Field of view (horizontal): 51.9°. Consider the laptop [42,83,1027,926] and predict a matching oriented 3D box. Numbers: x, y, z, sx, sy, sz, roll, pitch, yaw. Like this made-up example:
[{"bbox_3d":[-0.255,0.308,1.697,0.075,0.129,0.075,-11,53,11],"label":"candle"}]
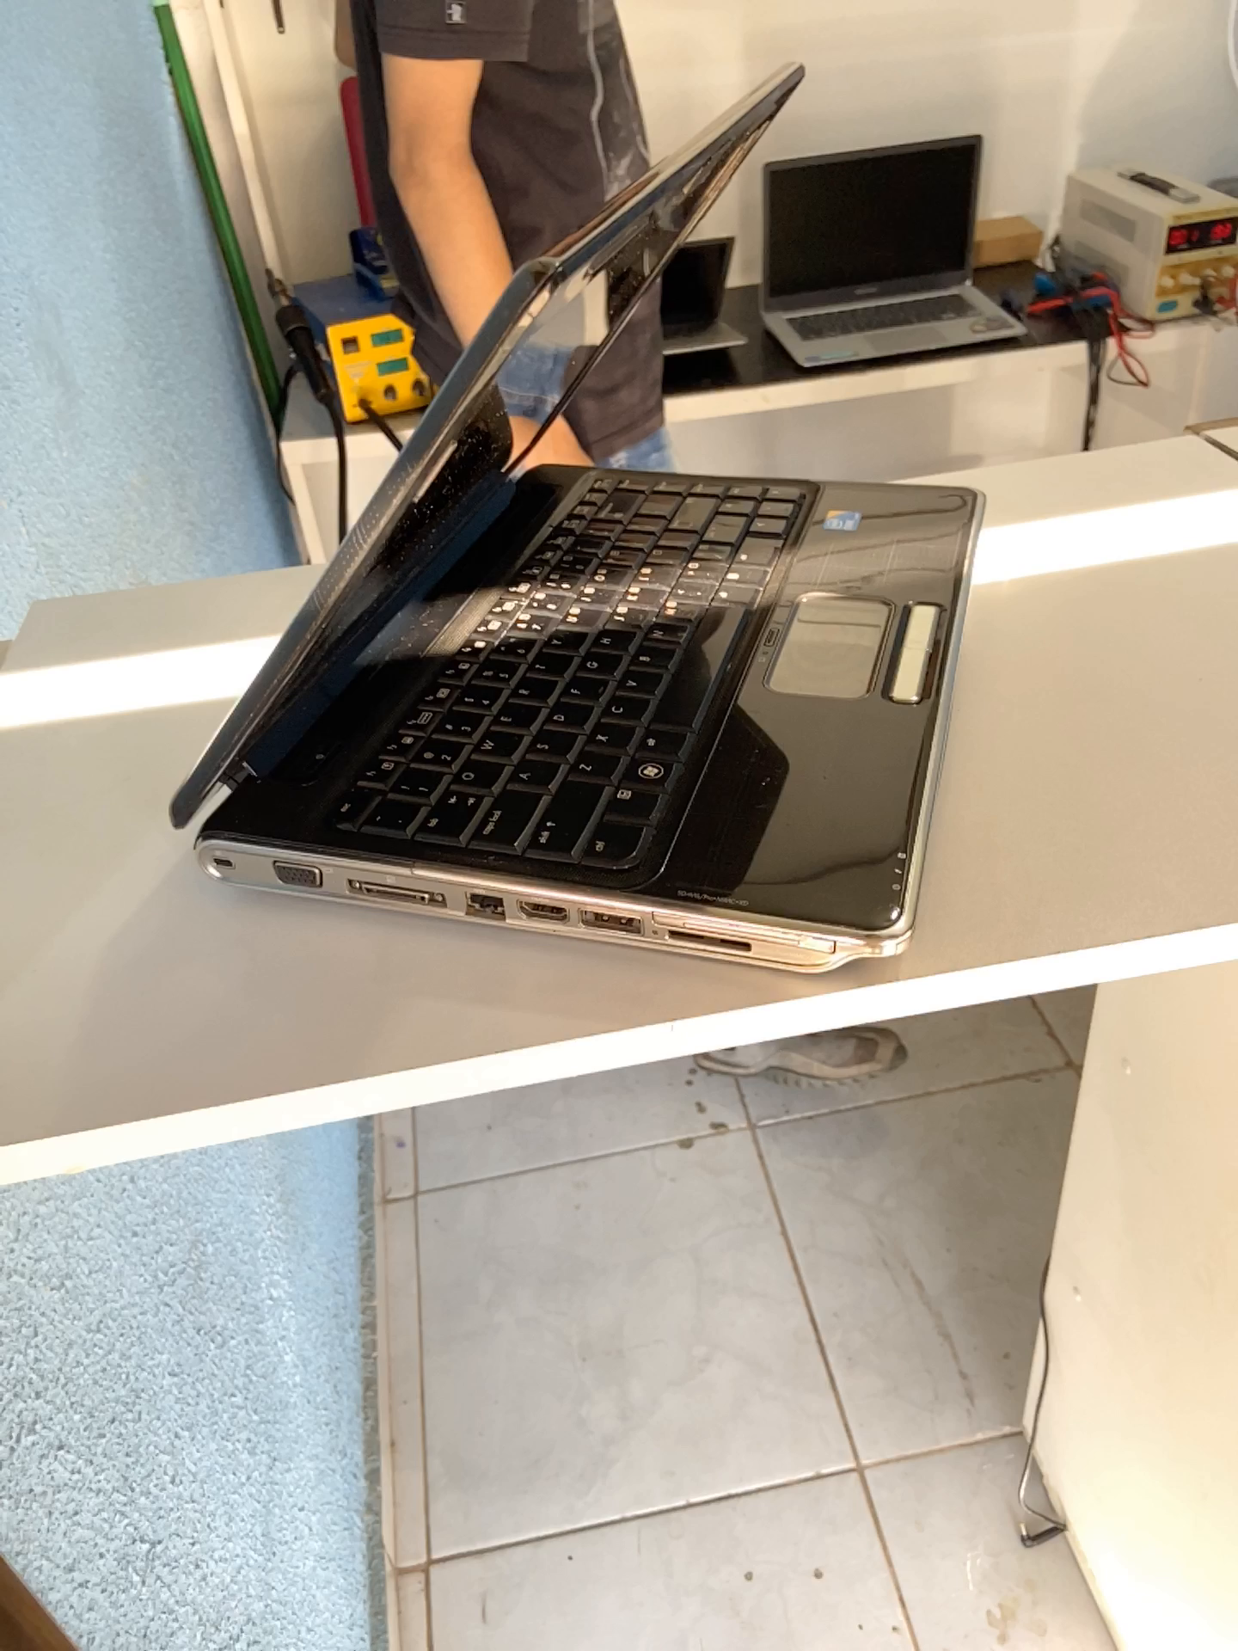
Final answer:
[{"bbox_3d":[0.017,-0.149,0.464,0.225,0.165,0.327,7,38,16],"label":"laptop"}]
